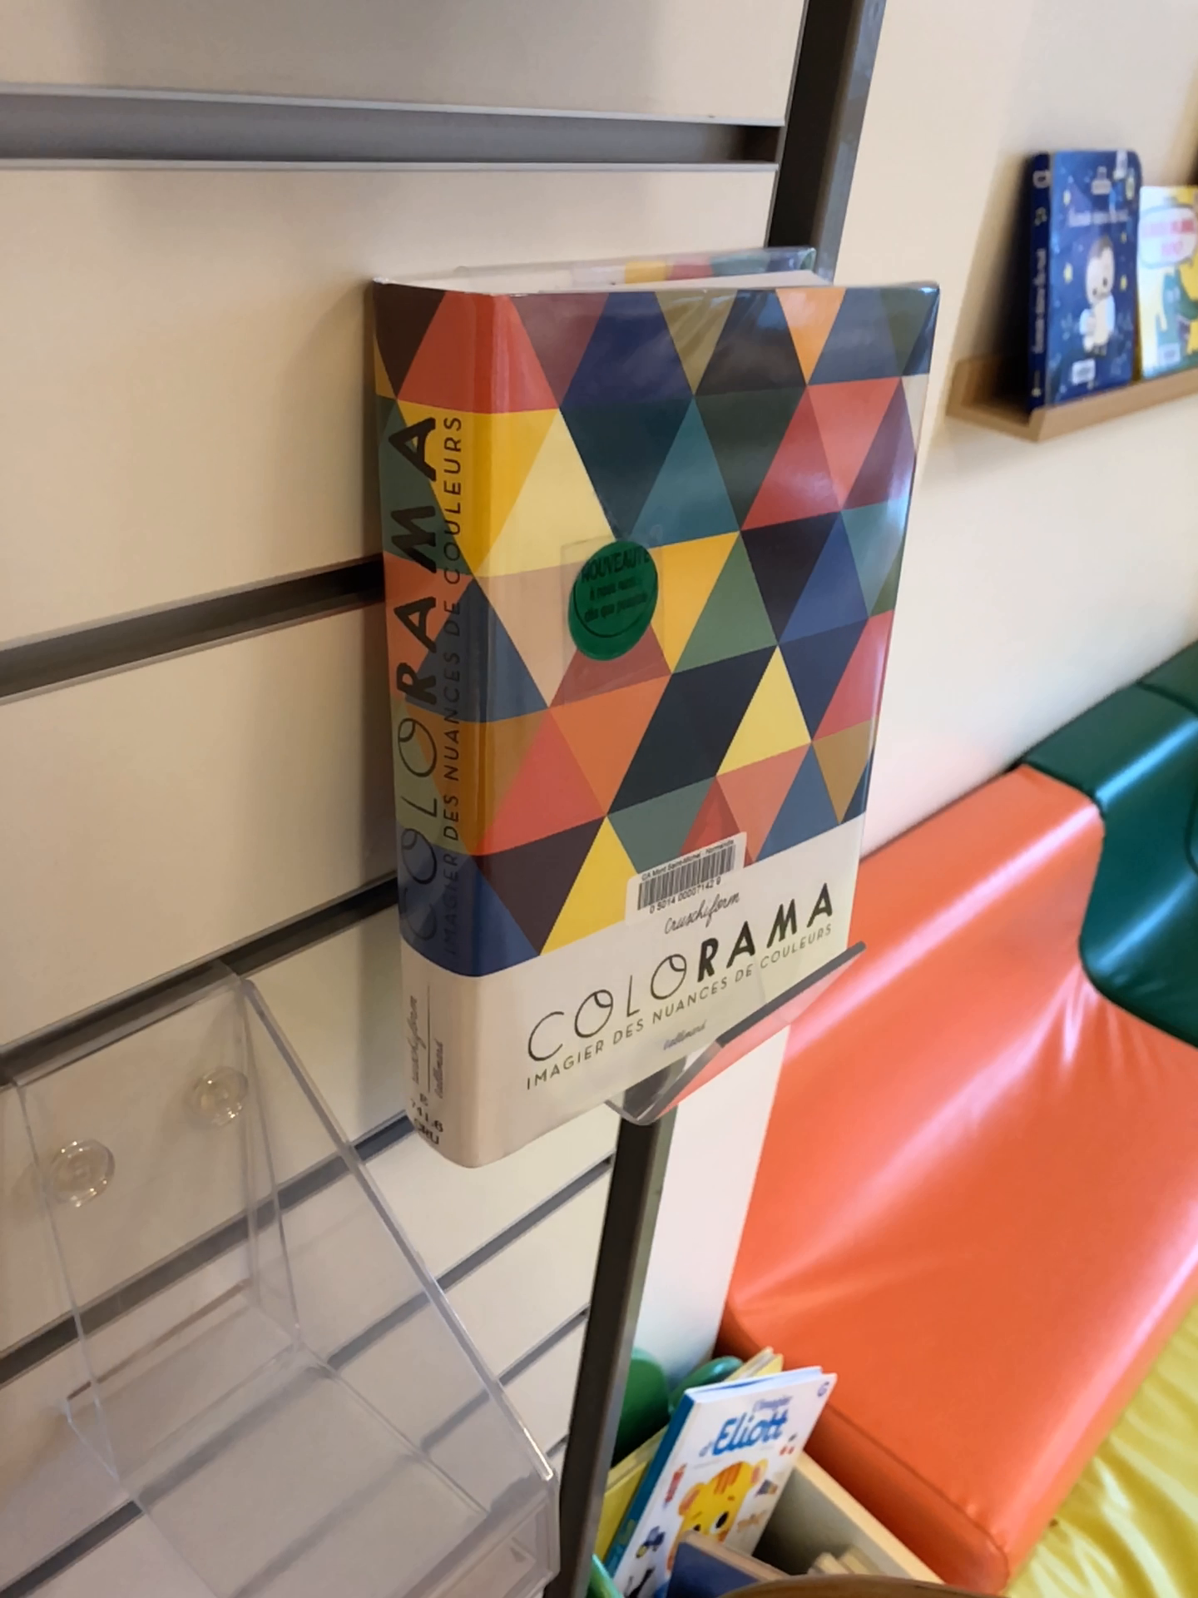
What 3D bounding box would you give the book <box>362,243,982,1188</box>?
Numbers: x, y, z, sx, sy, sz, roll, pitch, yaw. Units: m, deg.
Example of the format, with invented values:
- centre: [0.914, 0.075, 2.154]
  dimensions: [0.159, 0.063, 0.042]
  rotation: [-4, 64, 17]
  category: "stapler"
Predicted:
- centre: [0.023, -0.030, 0.376]
  dimensions: [0.171, 0.231, 0.046]
  rotation: [-20, 33, -38]
  category: "book"
